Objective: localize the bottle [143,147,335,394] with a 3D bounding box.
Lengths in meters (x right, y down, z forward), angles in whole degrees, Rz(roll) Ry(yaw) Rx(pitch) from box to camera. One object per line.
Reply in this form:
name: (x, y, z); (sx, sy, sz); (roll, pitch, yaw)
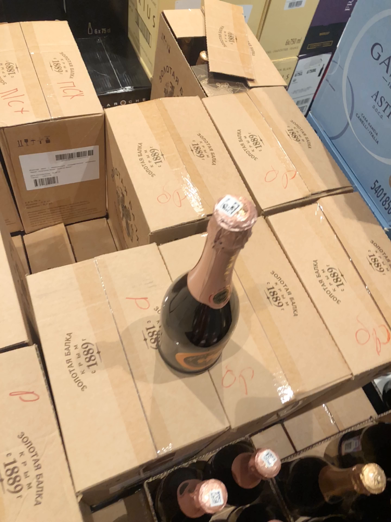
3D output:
bottle: (0.015, 0.038, 0.444); (0.100, 0.308, 0.090); (-19, 64, -19)
